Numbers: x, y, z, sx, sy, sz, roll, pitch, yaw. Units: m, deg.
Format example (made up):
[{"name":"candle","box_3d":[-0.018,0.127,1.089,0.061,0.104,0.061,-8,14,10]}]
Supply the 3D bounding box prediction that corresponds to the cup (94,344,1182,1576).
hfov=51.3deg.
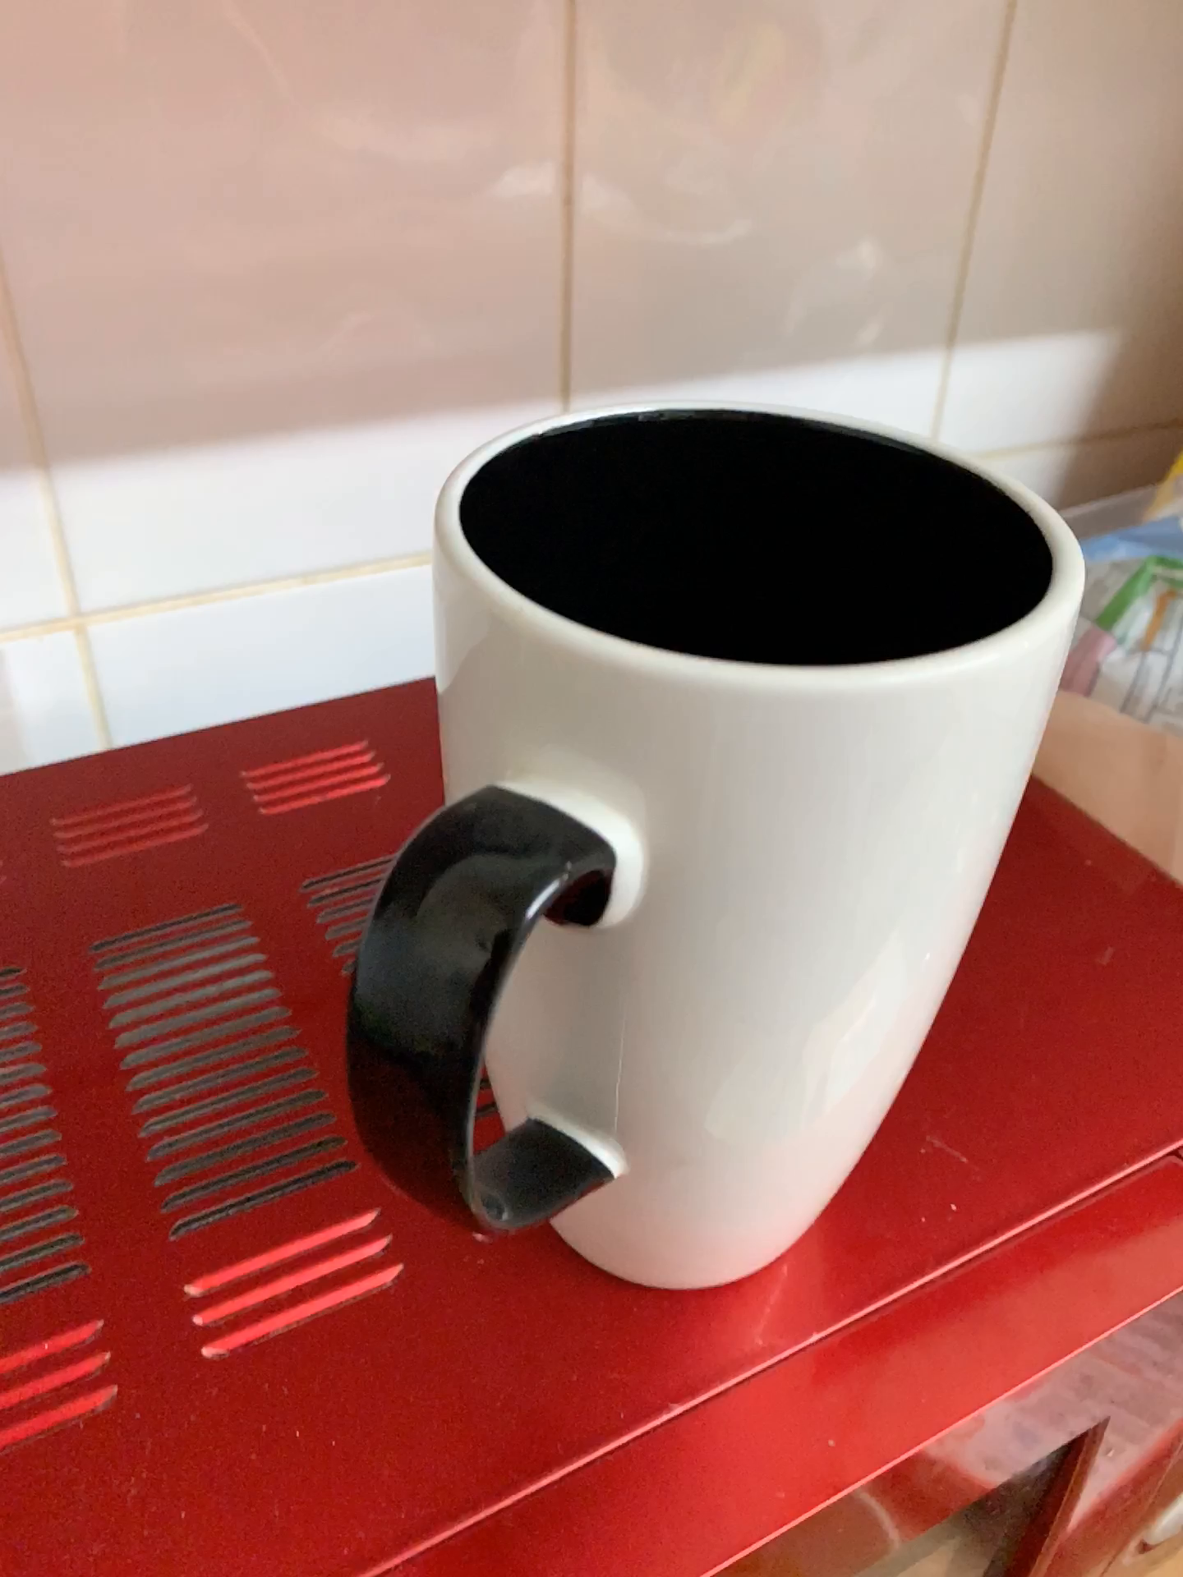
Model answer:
[{"name":"cup","box_3d":[0.014,0.016,0.203,0.090,0.129,0.131,31,45,34]}]
